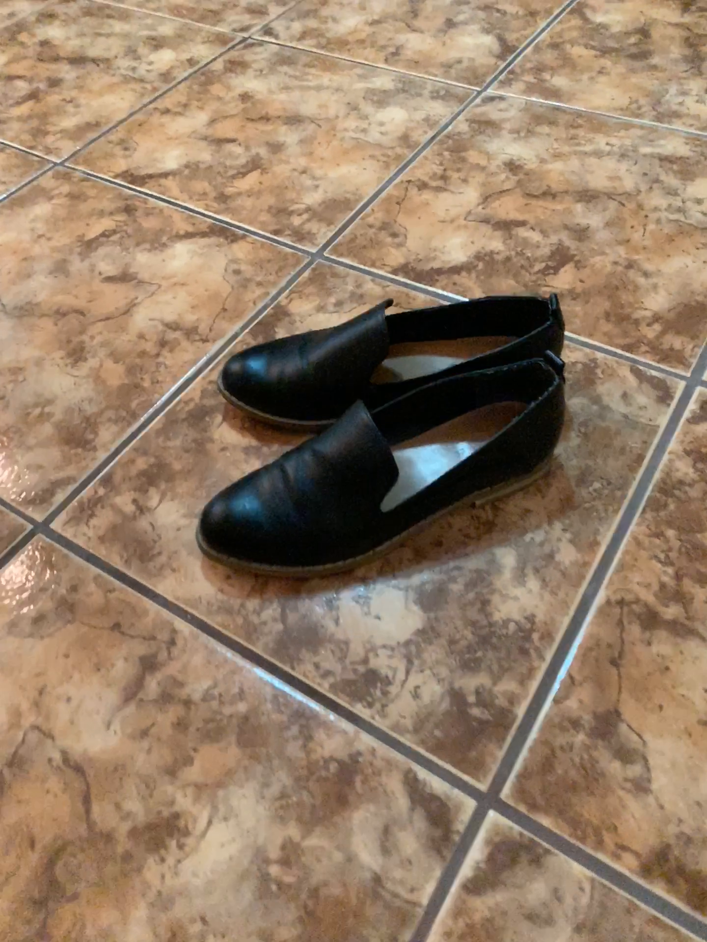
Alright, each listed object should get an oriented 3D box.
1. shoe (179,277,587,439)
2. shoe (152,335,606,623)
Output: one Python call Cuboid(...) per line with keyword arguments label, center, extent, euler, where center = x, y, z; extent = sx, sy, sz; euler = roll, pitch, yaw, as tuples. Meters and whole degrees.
Cuboid(label="shoe", center=(0.020, -0.078, 0.504), extent=(0.256, 0.070, 0.086), euler=(0, 52, 5))
Cuboid(label="shoe", center=(0.015, 0.002, 0.454), extent=(0.255, 0.070, 0.088), euler=(-17, 53, -8))
